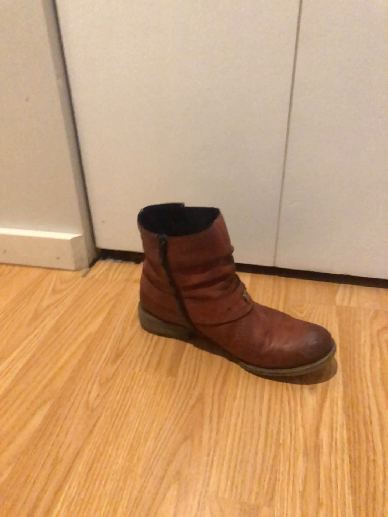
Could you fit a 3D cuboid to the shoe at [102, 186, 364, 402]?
[{"bbox_3d":[0.040,0.031,0.516,0.270,0.169,0.100,14,35,23],"label":"shoe"}]
